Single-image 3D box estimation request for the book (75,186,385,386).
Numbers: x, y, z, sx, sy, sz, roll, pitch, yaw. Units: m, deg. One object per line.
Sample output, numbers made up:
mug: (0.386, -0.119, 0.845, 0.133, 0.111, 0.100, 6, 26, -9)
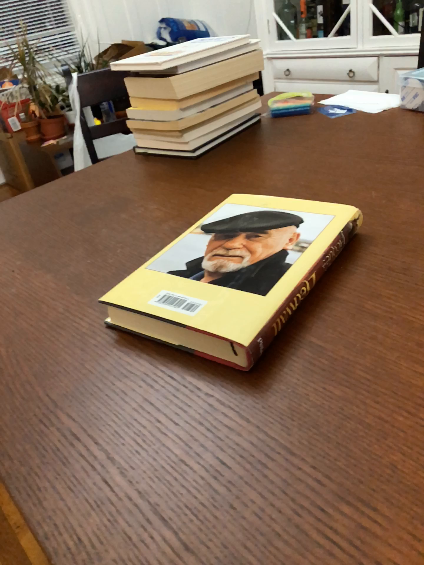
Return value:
book: (0.029, -0.024, 0.450, 0.190, 0.030, 0.251, 13, 39, 34)
